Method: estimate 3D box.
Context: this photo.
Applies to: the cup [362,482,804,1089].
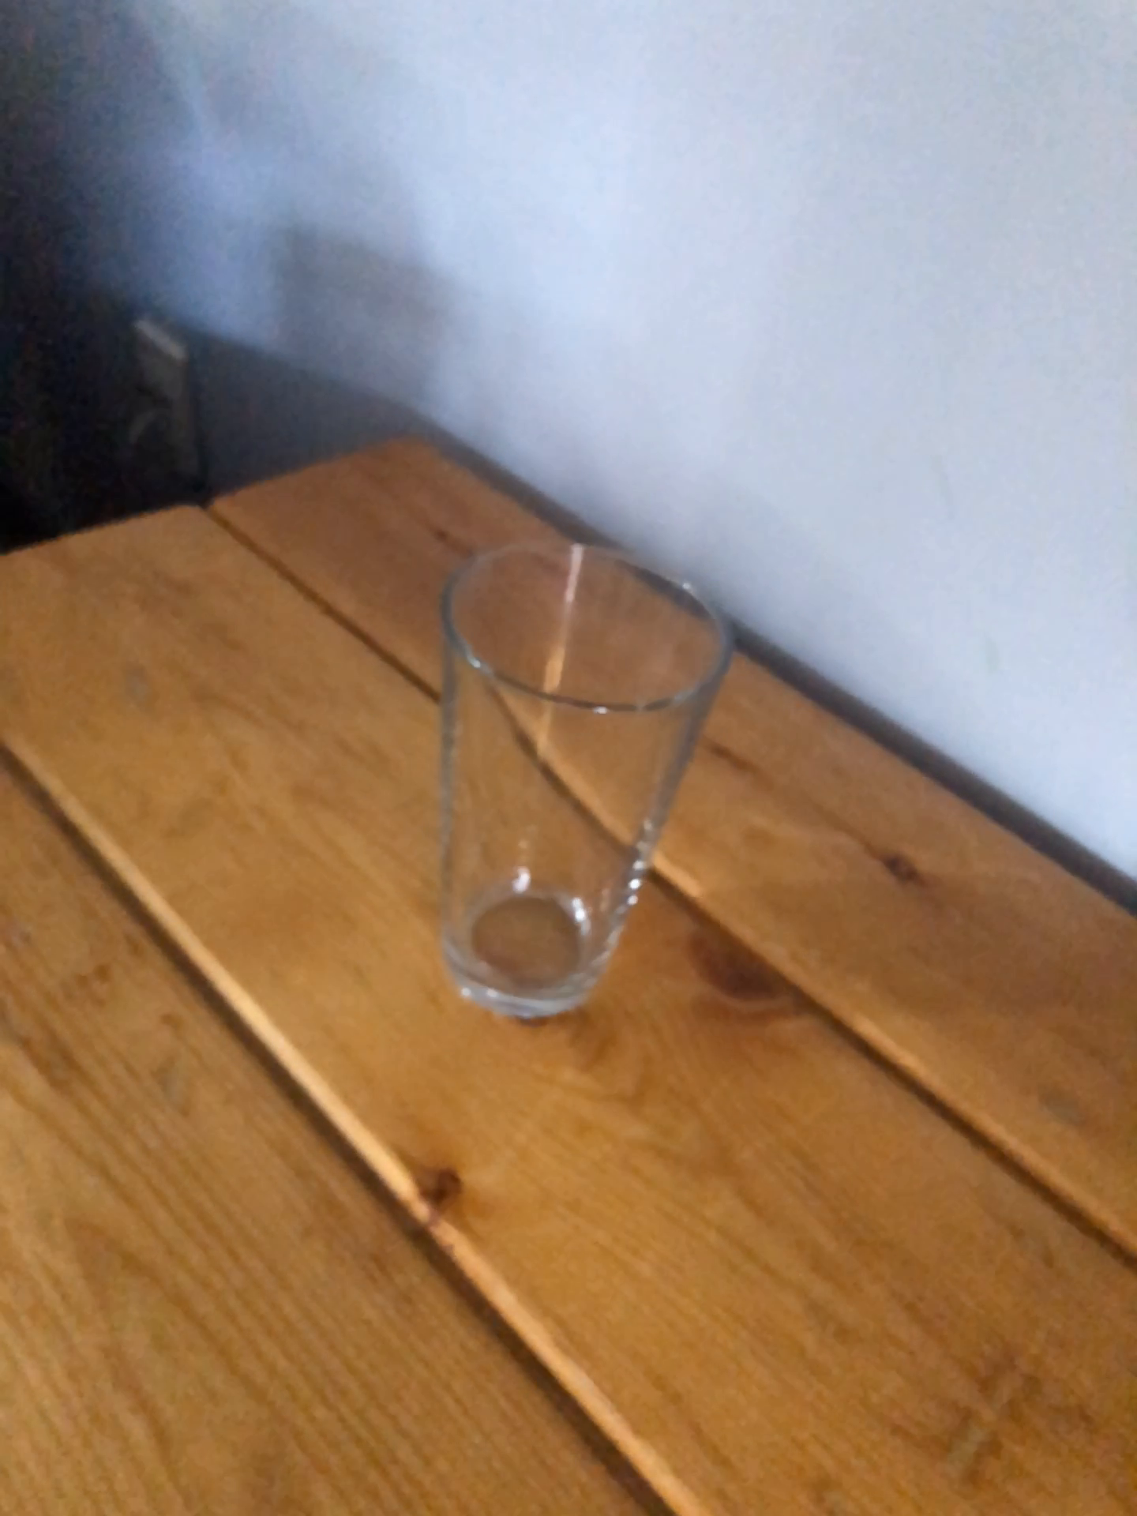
[{"bbox_3d":[-0.001,0.009,0.415,0.090,0.150,0.090,5,40,-4],"label":"cup"}]
